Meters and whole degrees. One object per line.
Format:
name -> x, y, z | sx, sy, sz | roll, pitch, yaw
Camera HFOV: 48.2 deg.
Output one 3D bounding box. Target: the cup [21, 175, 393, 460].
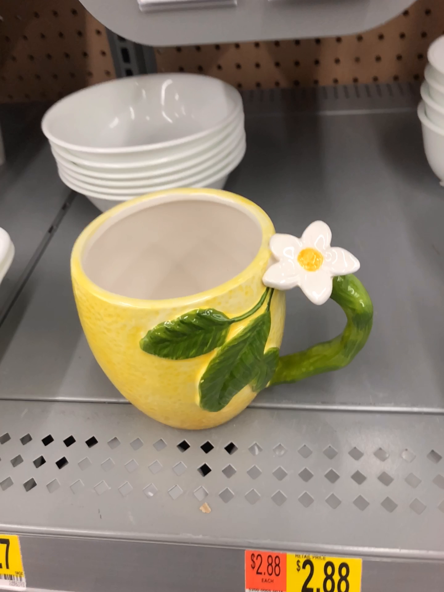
cup -> 0.001, 0.007, 0.251 | 0.139, 0.094, 0.101 | 2, 43, 9
